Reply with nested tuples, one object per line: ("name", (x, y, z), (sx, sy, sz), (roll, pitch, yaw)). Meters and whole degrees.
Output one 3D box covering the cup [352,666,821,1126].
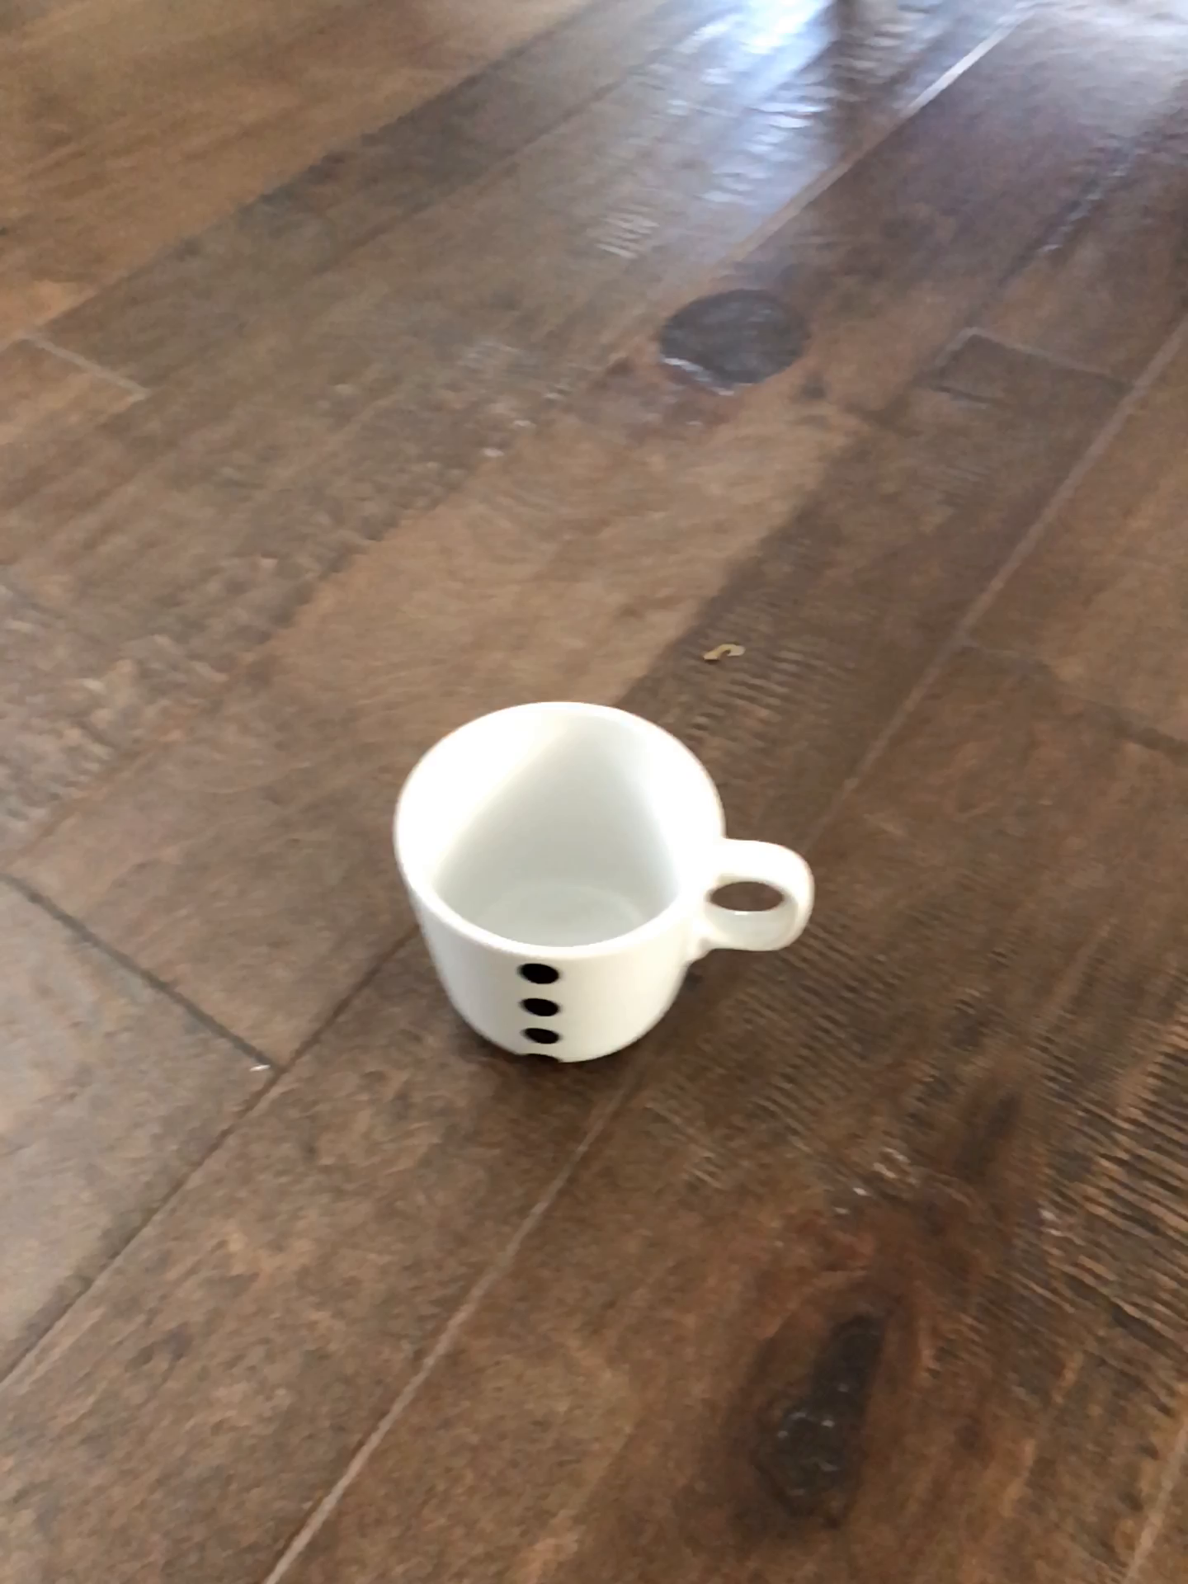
("cup", (0.003, 0.028, 0.367), (0.110, 0.079, 0.091), (4, 50, 4))
